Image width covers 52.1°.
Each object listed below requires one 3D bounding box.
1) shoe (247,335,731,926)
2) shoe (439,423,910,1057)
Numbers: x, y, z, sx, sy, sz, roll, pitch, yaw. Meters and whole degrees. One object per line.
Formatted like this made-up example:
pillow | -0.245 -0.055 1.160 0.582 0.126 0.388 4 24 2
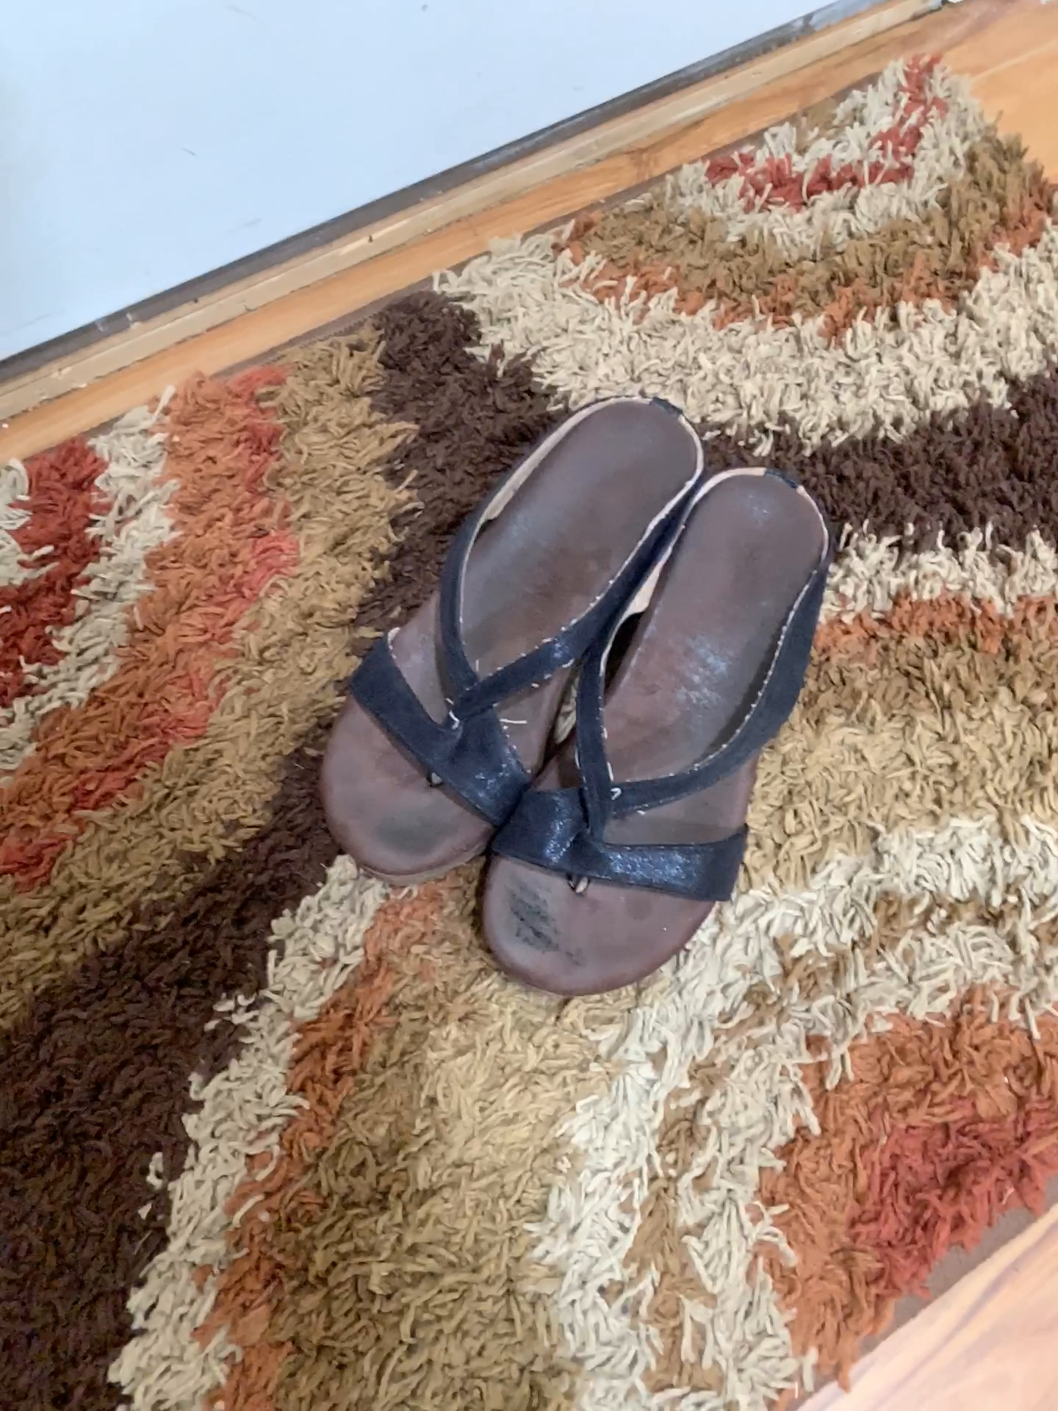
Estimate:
shoe | -0.008 -0.036 0.430 0.084 0.052 0.224 26 69 10
shoe | 0.059 0.008 0.419 0.090 0.062 0.223 25 68 9
